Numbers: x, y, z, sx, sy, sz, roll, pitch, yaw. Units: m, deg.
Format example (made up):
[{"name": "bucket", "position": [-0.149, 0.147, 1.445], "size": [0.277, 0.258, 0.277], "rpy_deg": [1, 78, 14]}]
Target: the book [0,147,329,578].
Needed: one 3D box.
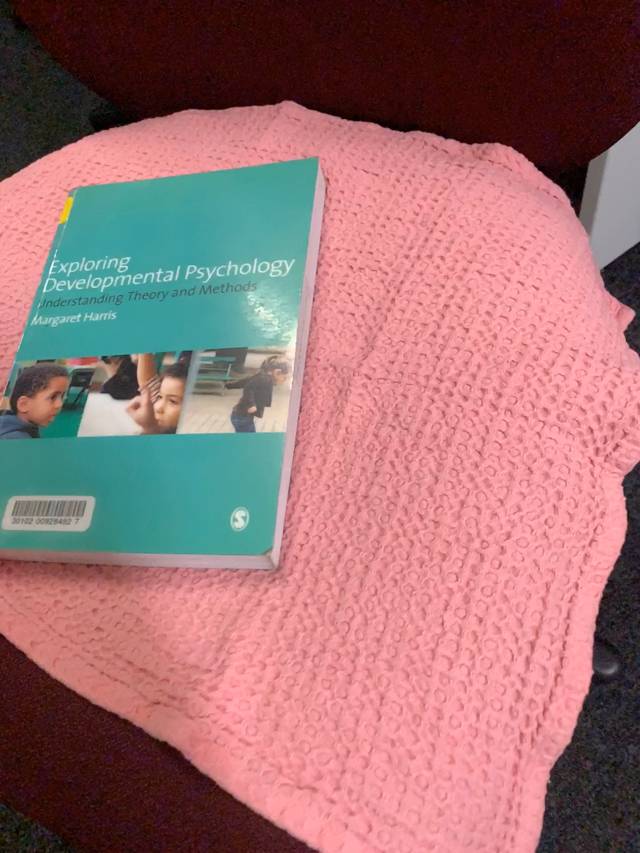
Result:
[{"name": "book", "position": [-0.093, -0.045, 0.363], "size": [0.175, 0.030, 0.246], "rpy_deg": [-2, 62, 14]}]
